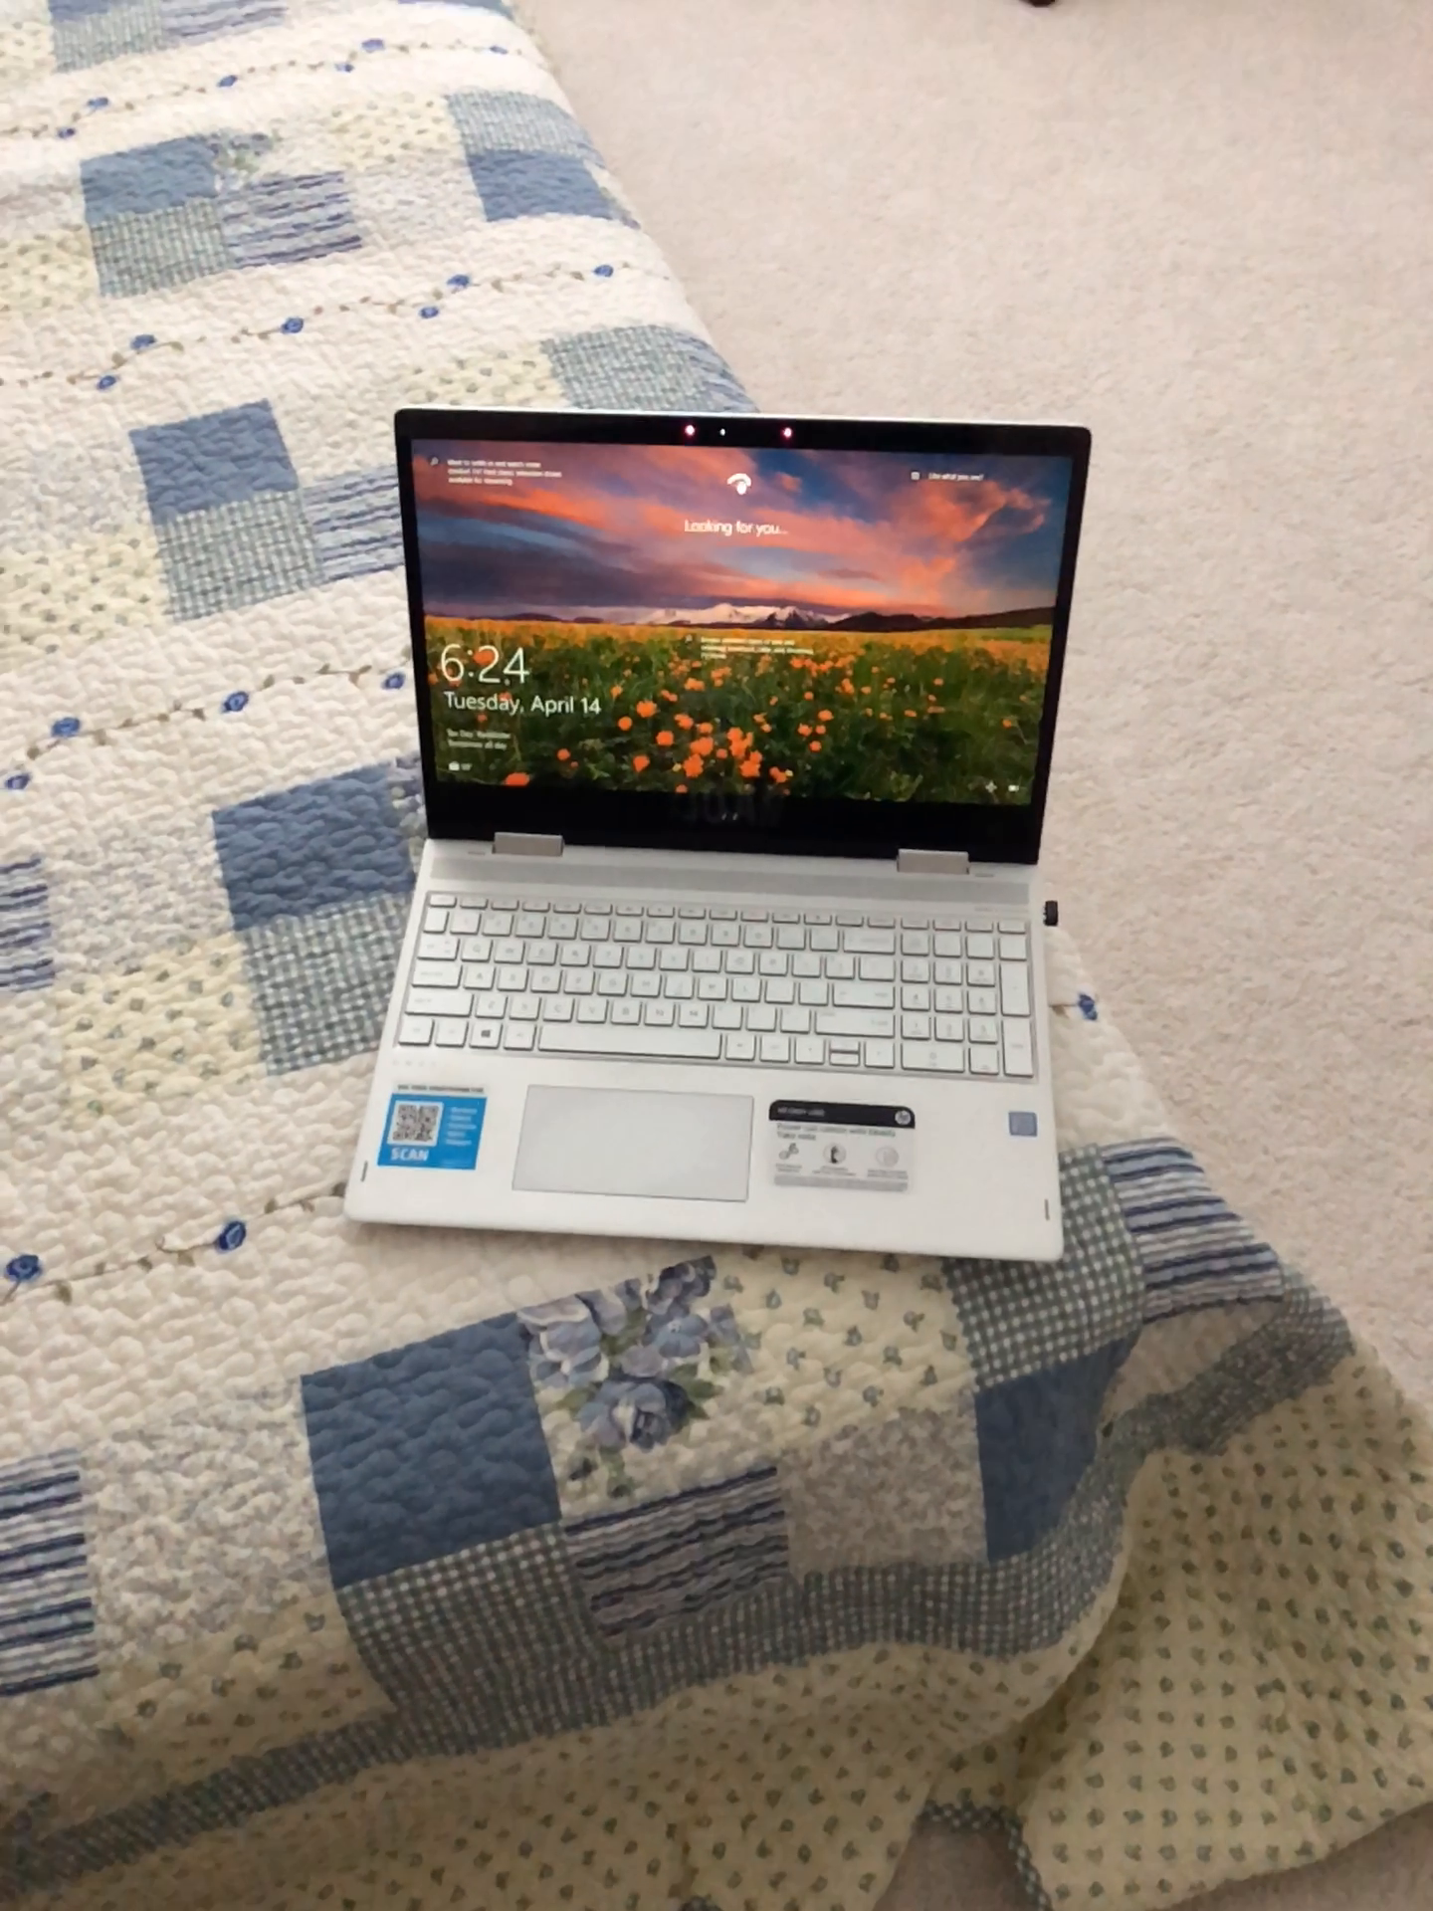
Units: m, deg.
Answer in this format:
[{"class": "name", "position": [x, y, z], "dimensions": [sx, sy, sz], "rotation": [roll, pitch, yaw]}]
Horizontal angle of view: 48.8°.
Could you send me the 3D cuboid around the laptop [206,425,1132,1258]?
[{"class": "laptop", "position": [-0.004, -0.063, 0.792], "dimensions": [0.355, 0.208, 0.358], "rotation": [2, 56, 3]}]
